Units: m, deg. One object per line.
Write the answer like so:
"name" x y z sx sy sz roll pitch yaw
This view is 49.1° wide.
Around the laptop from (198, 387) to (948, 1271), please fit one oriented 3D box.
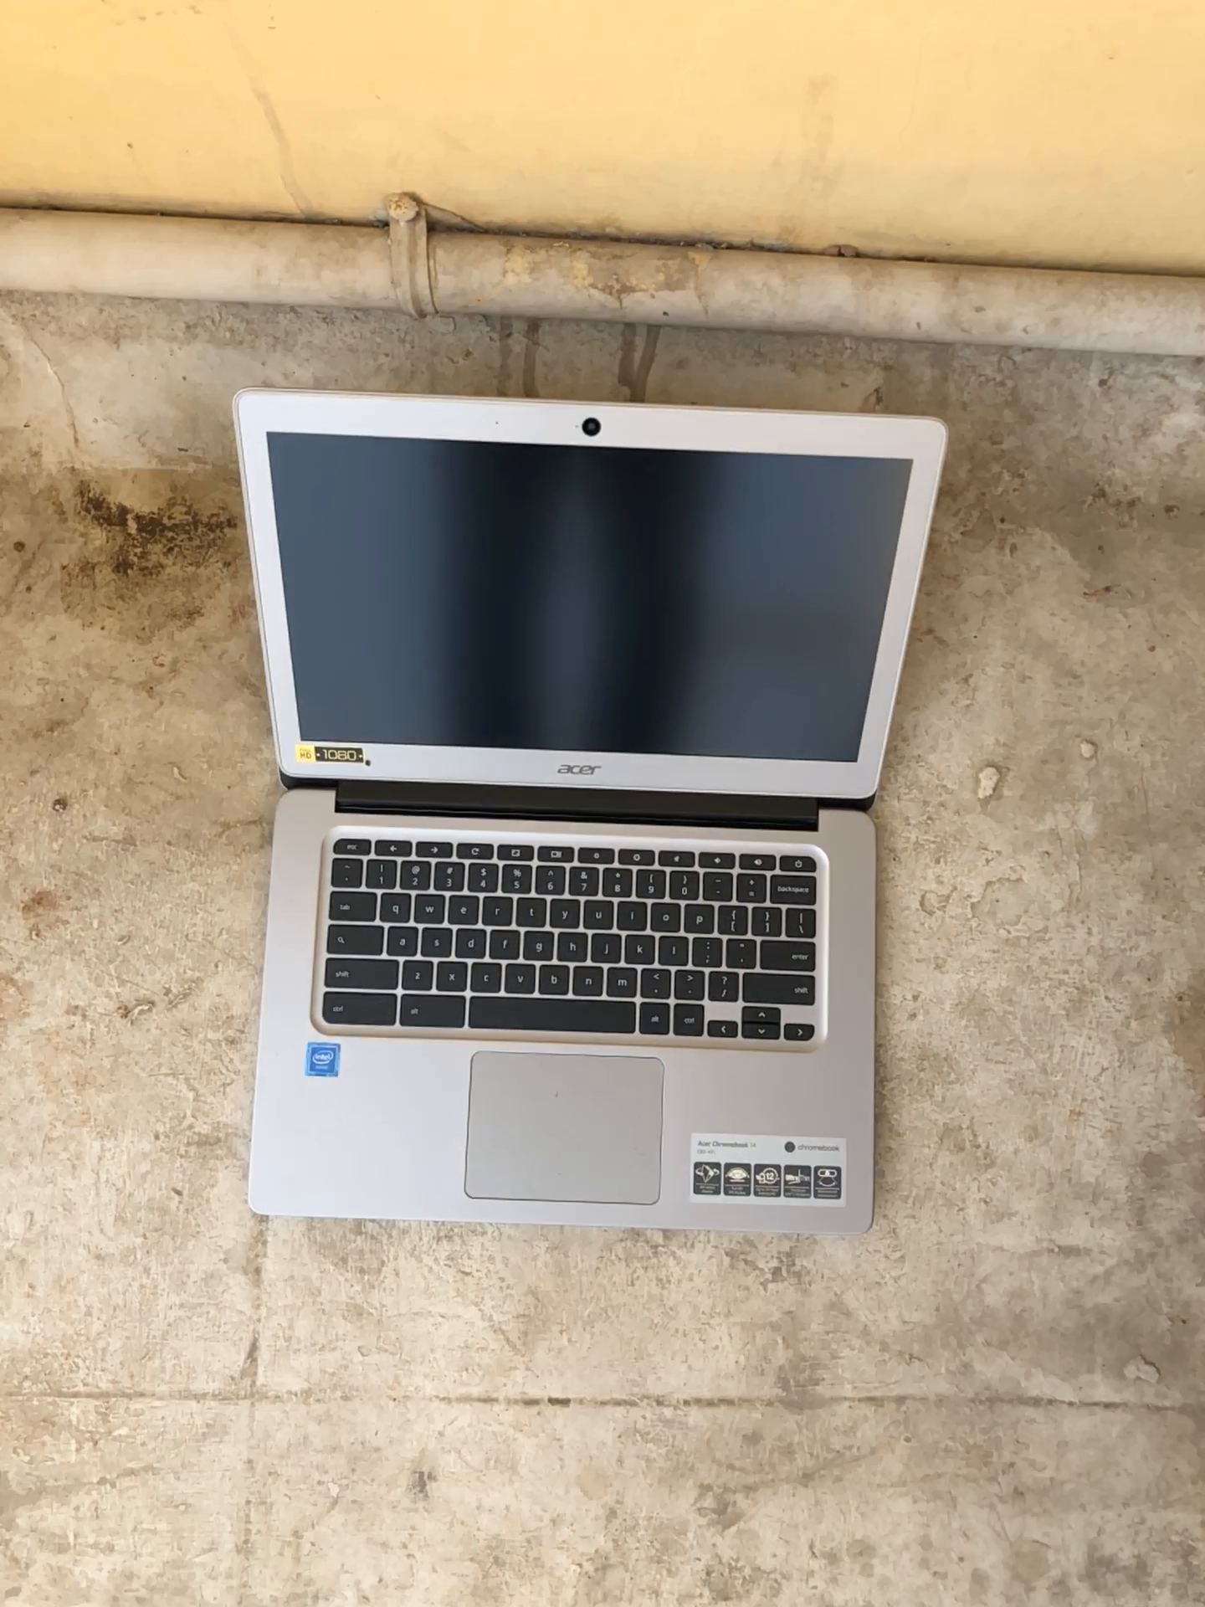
"laptop" -0.009 0.013 0.652 0.315 0.137 0.378 3 84 -1
